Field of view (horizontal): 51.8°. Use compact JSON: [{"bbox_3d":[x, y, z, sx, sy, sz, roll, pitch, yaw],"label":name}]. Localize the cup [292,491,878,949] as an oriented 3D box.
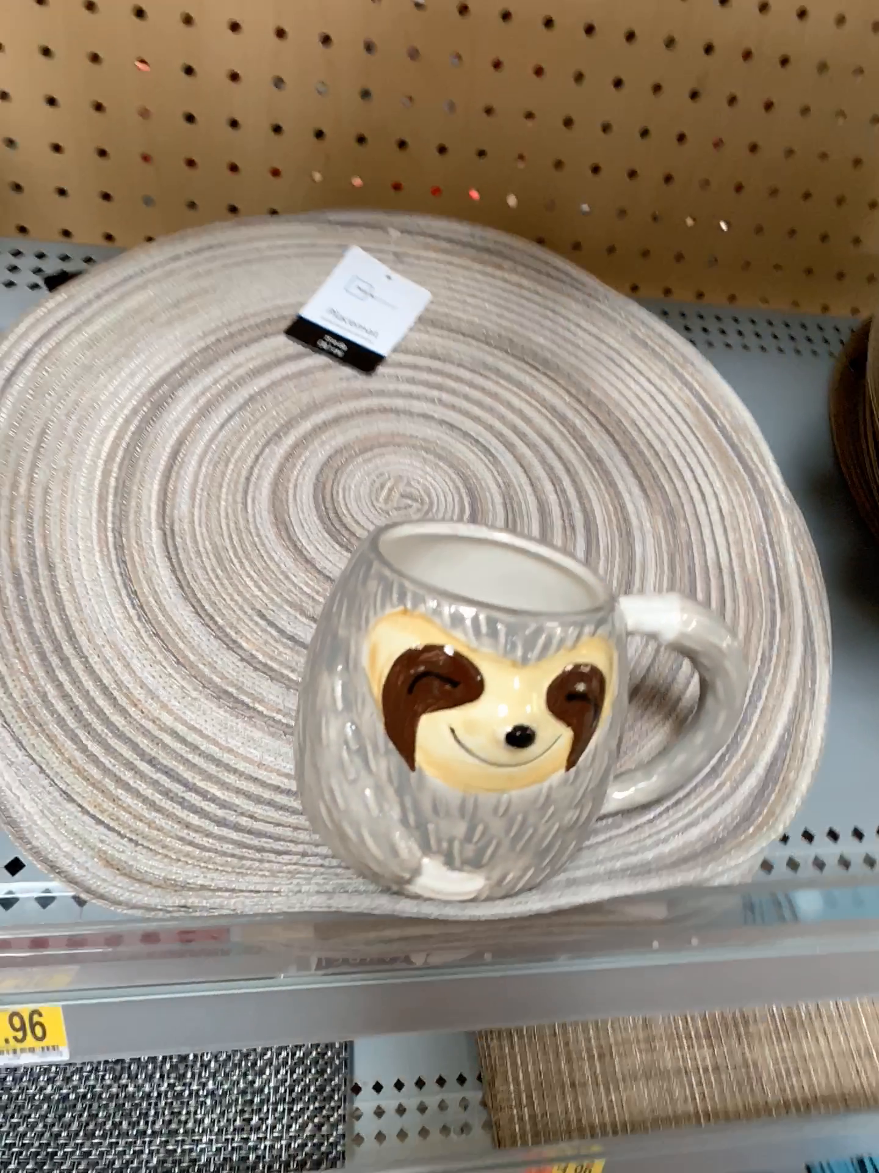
[{"bbox_3d":[0.037,0.037,0.288,0.150,0.089,0.106,4,26,-16],"label":"cup"}]
